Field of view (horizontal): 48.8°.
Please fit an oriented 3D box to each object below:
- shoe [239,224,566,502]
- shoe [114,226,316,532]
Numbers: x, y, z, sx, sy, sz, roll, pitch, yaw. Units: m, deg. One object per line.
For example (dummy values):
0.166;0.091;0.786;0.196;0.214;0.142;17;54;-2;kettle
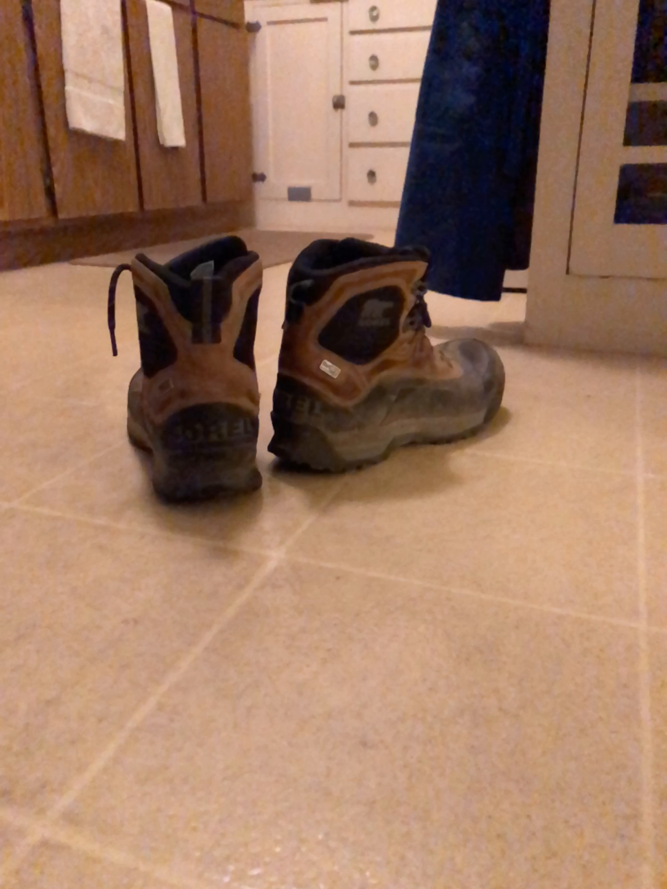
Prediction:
0.072;-0.093;0.670;0.293;0.185;0.113;-18;27;-38;shoe
-0.116;-0.082;0.645;0.121;0.185;0.300;-6;22;-16;shoe
